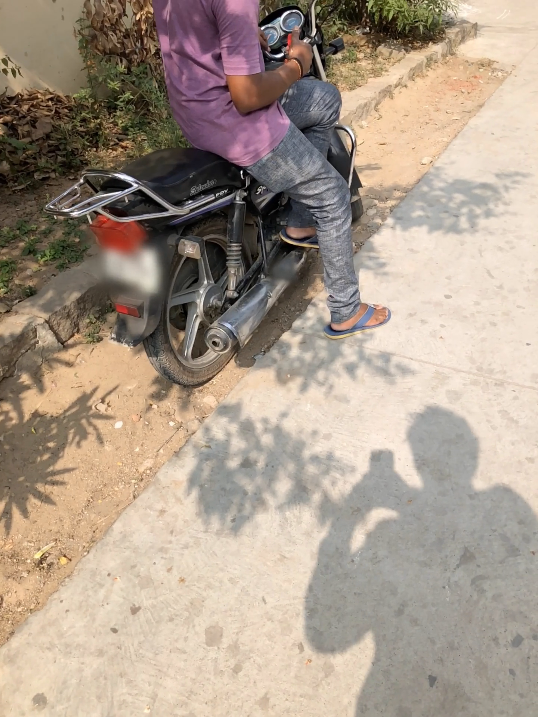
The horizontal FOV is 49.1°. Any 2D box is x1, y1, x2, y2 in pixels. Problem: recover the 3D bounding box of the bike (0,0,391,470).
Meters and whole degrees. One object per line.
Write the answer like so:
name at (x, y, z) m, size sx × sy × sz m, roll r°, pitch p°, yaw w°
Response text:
bike at (-0.118, -0.803, 2.371) m, size 0.769 × 1.294 × 1.770 m, roll 12°, pitch 47°, yaw 19°
